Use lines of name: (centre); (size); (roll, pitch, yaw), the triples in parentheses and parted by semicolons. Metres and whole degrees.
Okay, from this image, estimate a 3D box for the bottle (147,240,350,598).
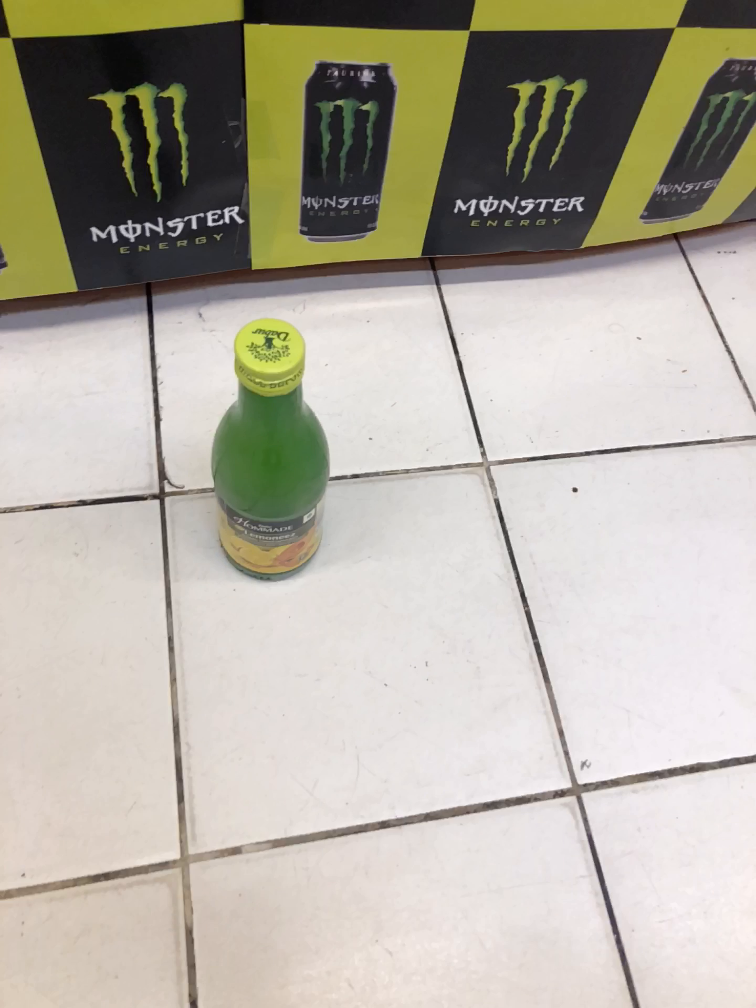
bottle: (-0.057, -0.026, 0.390); (0.070, 0.179, 0.070); (4, 59, -6)
